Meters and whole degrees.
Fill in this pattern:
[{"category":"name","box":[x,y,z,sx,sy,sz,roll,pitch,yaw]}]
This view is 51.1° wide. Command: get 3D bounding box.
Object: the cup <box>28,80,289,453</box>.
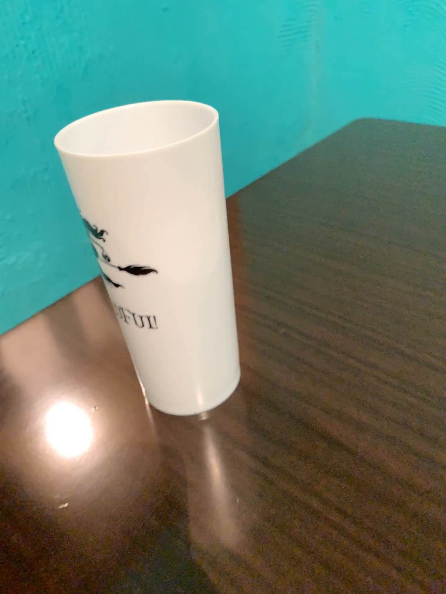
[{"category":"cup","box":[-0.019,-0.012,0.224,0.070,0.149,0.070,-4,37,3]}]
